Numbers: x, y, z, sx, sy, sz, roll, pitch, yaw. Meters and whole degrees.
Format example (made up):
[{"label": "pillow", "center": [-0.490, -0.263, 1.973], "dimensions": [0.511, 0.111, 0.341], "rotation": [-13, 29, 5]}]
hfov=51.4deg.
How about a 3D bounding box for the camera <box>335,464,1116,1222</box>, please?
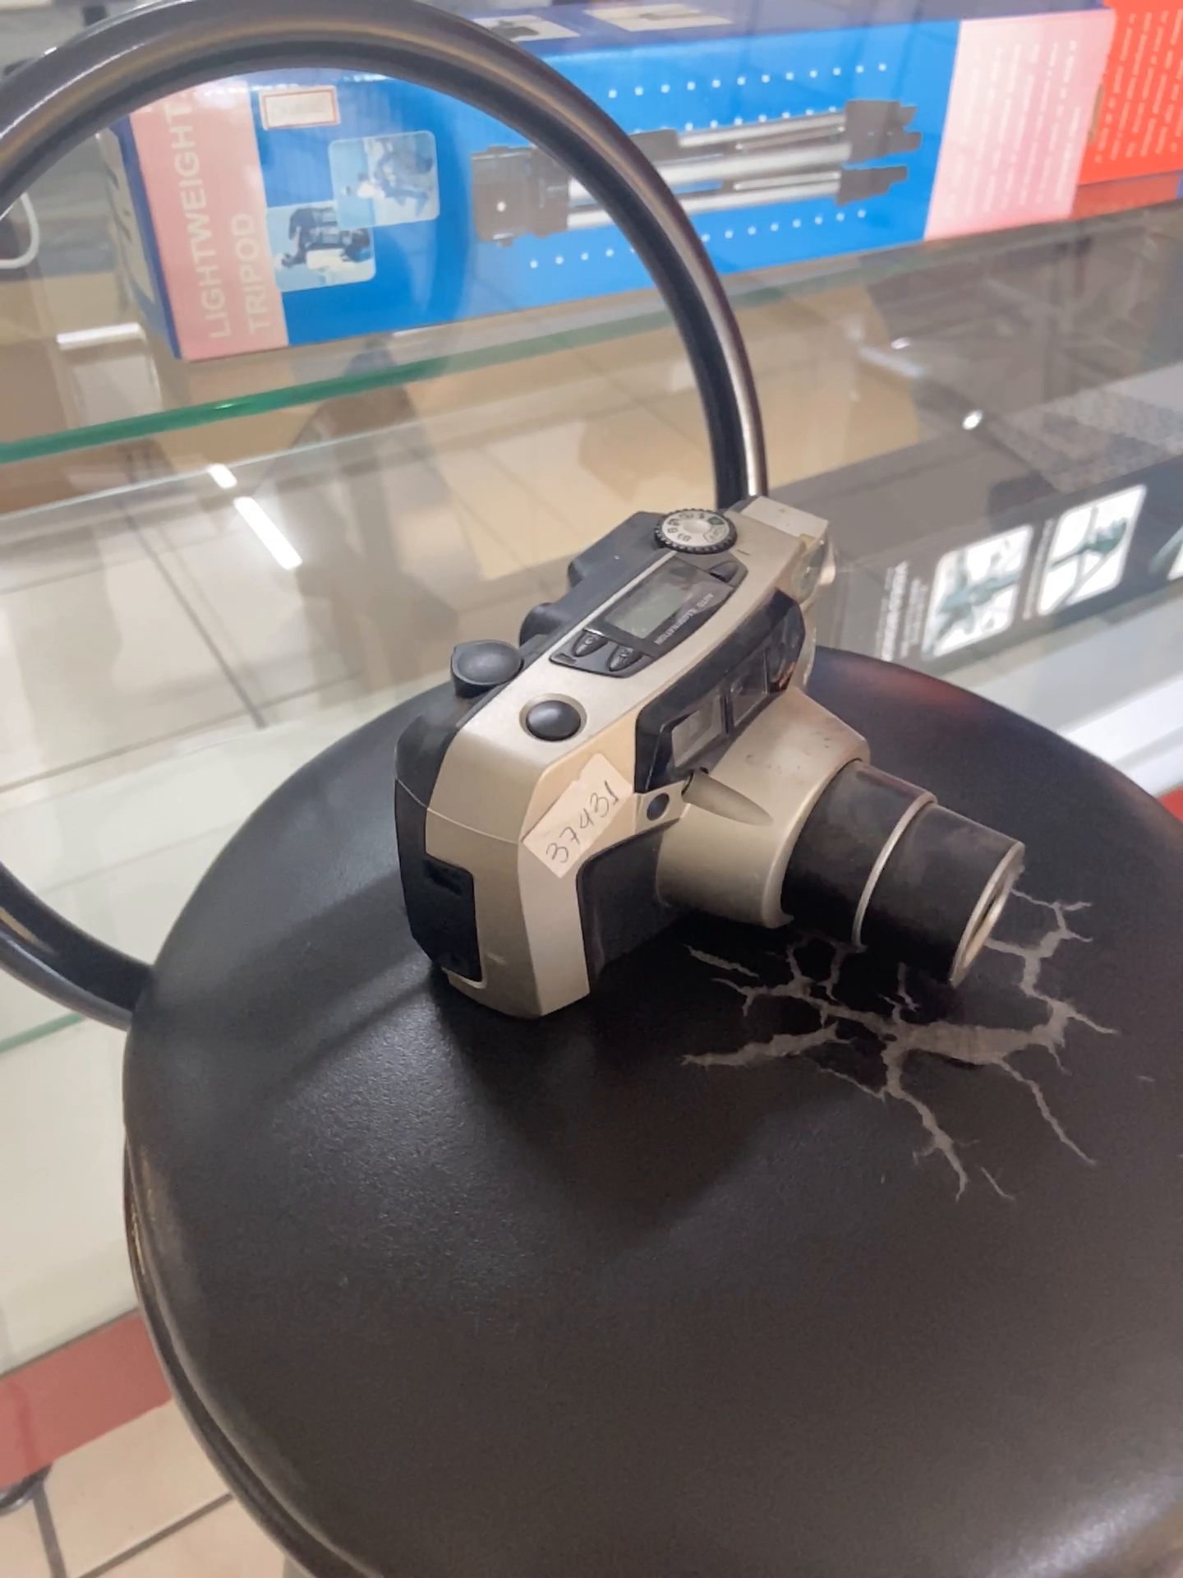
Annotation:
[{"label": "camera", "center": [0.034, 0.000, 0.289], "dimensions": [0.120, 0.080, 0.131], "rotation": [22, 46, 24]}]
